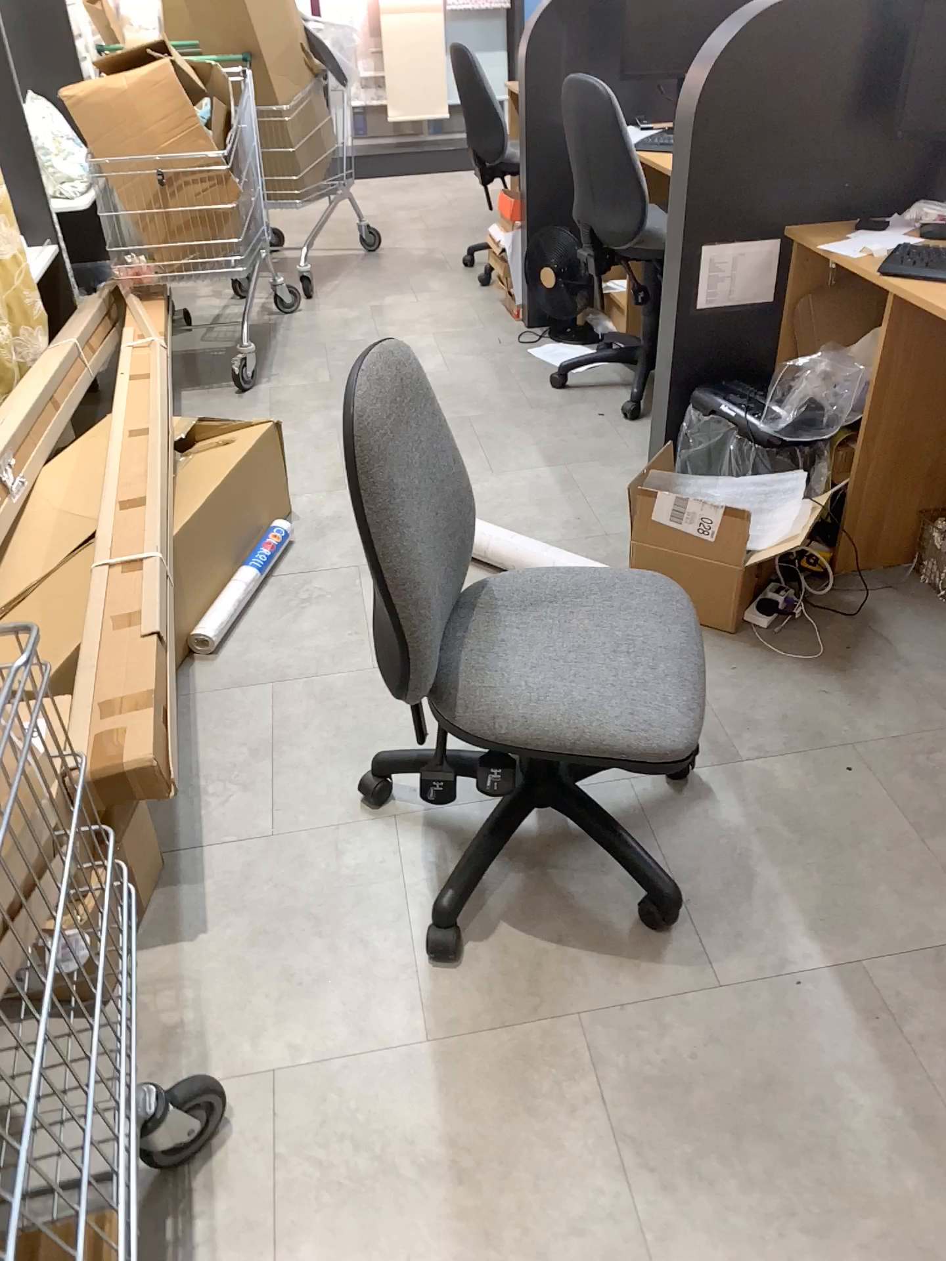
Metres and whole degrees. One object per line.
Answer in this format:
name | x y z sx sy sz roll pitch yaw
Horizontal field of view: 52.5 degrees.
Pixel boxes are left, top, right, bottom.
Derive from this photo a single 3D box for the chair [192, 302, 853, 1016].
chair | 0.092 0.009 1.369 0.624 0.750 0.632 3 35 8
